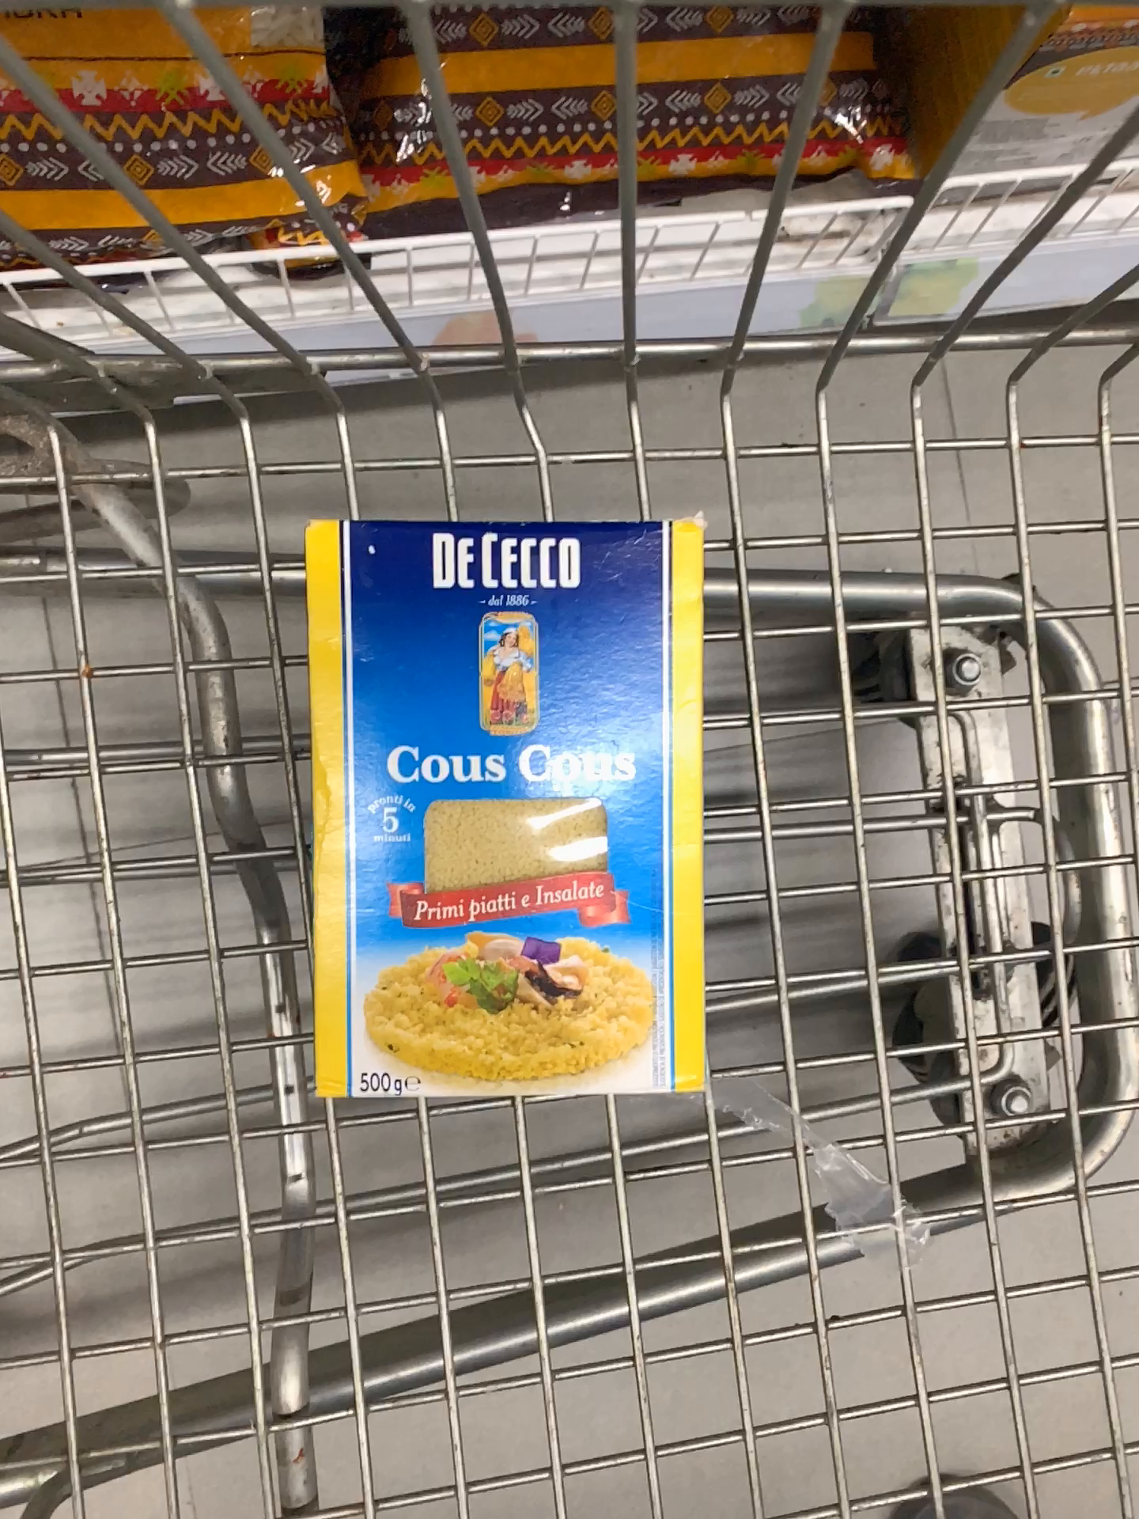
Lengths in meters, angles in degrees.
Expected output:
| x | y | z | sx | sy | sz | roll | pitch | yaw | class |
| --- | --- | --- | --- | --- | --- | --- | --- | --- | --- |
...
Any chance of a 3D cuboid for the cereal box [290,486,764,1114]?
| x | y | z | sx | sy | sz | roll | pitch | yaw | class |
| --- | --- | --- | --- | --- | --- | --- | --- | --- | --- |
| -0.011 | 0.010 | 0.325 | 0.120 | 0.050 | 0.160 | -1 | 91 | -1 | cereal box |
